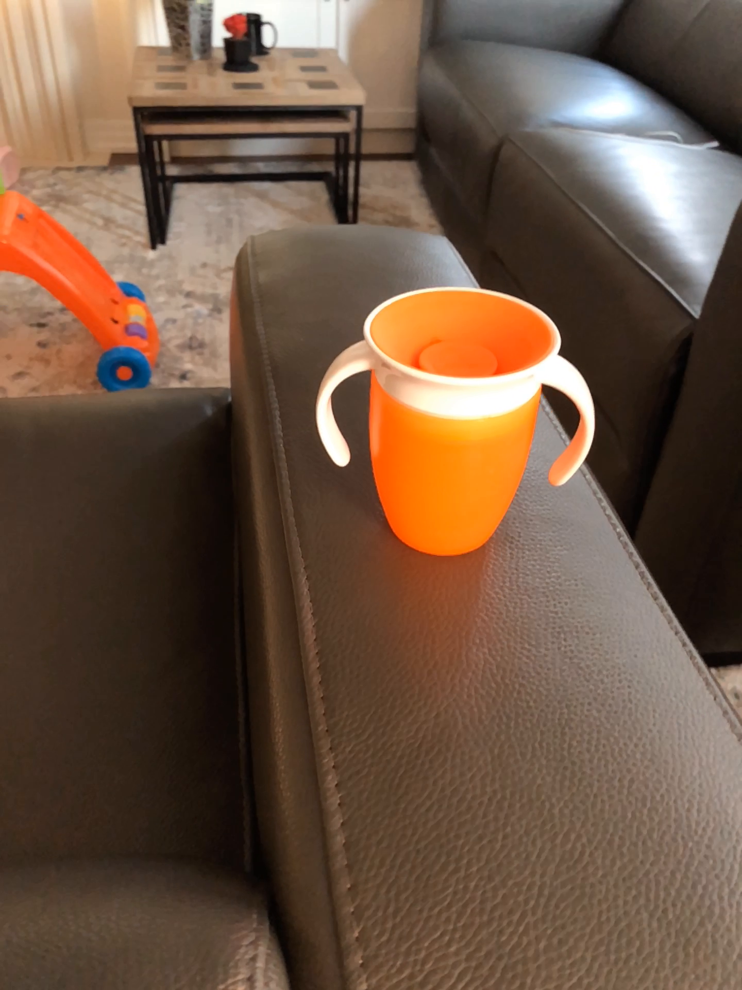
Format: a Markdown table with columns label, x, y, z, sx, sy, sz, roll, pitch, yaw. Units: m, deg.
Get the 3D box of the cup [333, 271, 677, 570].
| label | x | y | z | sx | sy | sz | roll | pitch | yaw |
| --- | --- | --- | --- | --- | --- | --- | --- | --- | --- |
| cup | 0.050 | -0.034 | 0.368 | 0.126 | 0.096 | 0.083 | 3 | 39 | 1 |
